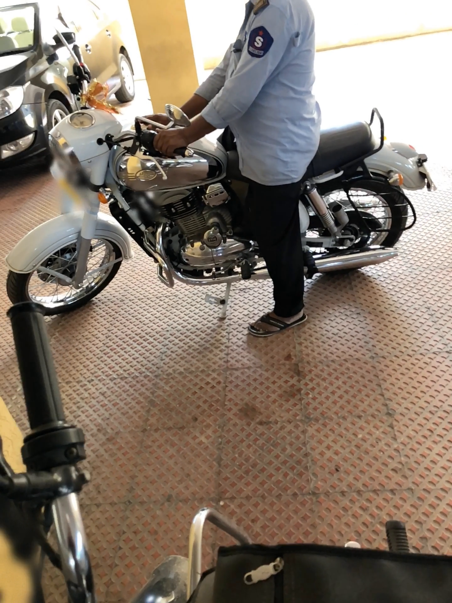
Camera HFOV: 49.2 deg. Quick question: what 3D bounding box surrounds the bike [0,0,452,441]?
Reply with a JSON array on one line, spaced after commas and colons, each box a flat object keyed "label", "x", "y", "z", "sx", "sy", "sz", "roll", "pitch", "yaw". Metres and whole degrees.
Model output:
[{"label": "bike", "x": -0.114, "y": -0.367, "z": 2.002, "sx": 1.898, "sy": 1.234, "sz": 0.848, "roll": -10, "pitch": 34, "yaw": -1}]
